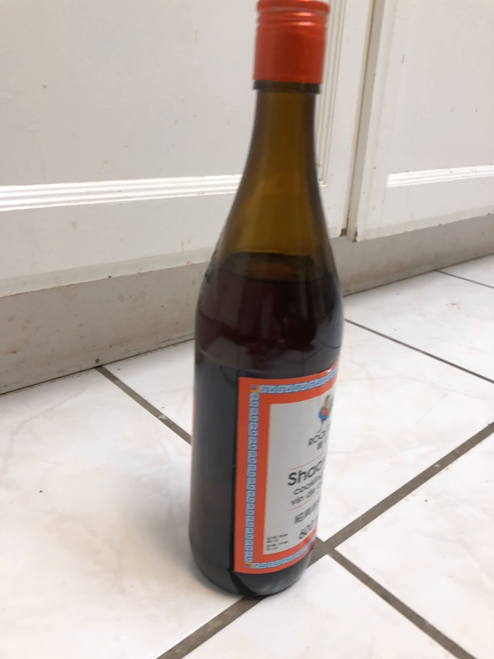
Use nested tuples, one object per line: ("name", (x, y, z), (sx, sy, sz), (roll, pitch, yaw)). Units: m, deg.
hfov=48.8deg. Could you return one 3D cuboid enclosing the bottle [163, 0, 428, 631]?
("bottle", (0.014, -0.001, 0.264), (0.070, 0.278, 0.080), (17, 26, 27))
